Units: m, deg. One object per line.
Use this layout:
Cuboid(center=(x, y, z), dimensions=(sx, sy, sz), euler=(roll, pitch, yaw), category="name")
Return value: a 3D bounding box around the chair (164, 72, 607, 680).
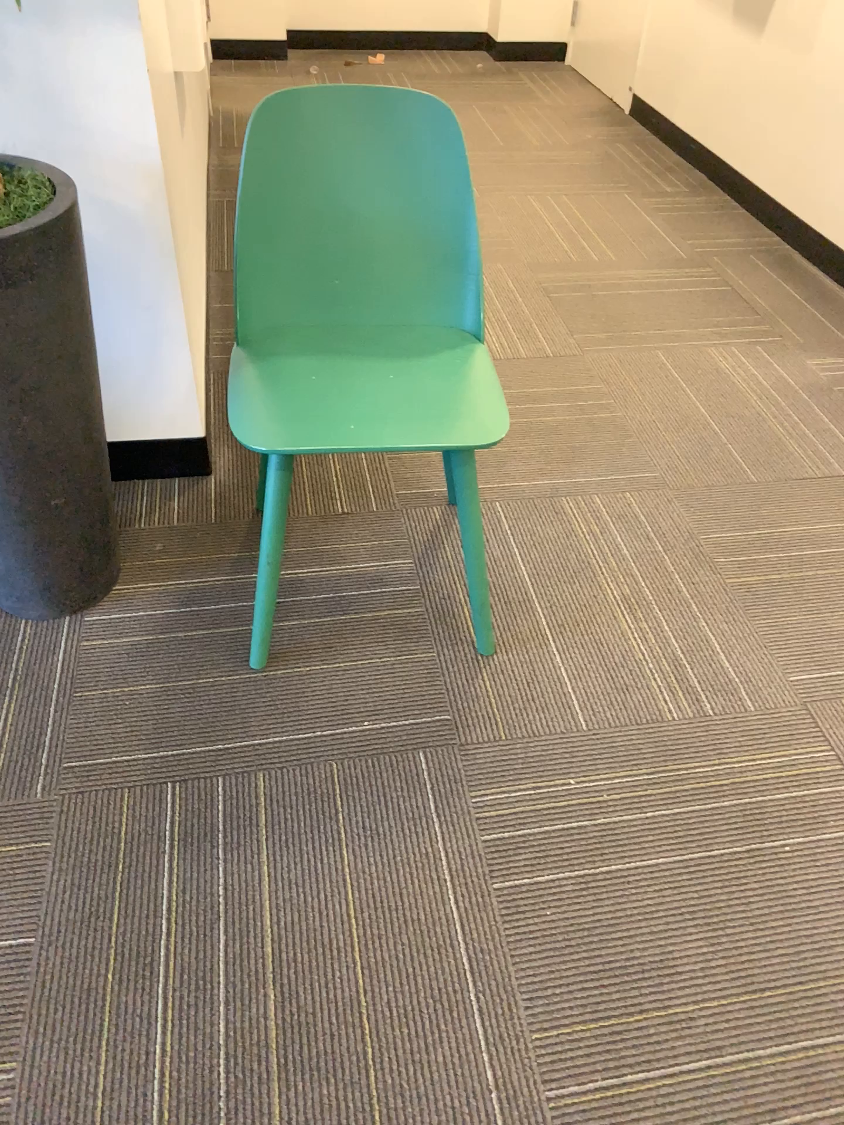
Cuboid(center=(-0.087, -0.288, 1.383), dimensions=(0.480, 0.765, 0.543), euler=(-3, 42, -8), category="chair")
